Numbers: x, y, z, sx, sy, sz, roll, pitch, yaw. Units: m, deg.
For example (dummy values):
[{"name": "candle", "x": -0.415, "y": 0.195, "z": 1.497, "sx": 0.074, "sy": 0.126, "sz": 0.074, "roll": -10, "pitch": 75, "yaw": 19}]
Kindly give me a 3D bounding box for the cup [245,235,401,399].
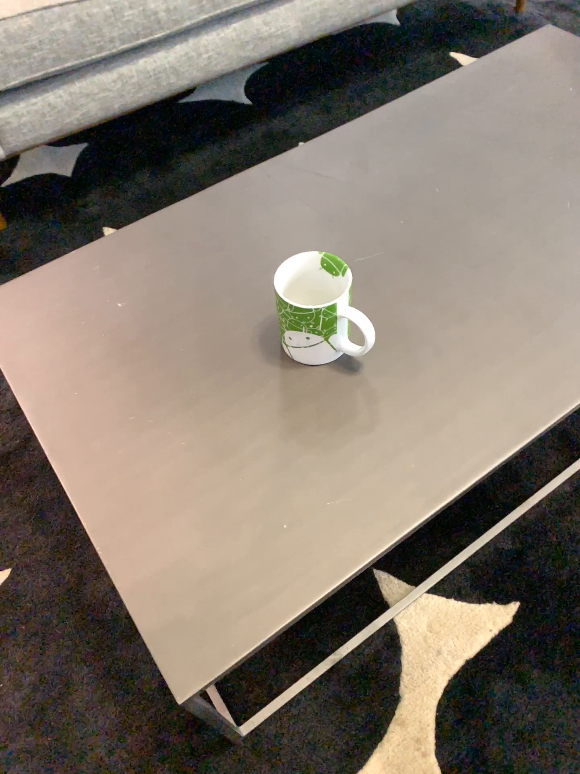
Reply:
[{"name": "cup", "x": 0.035, "y": -0.075, "z": 0.632, "sx": 0.120, "sy": 0.090, "sz": 0.100, "roll": 32, "pitch": 63, "yaw": 23}]
